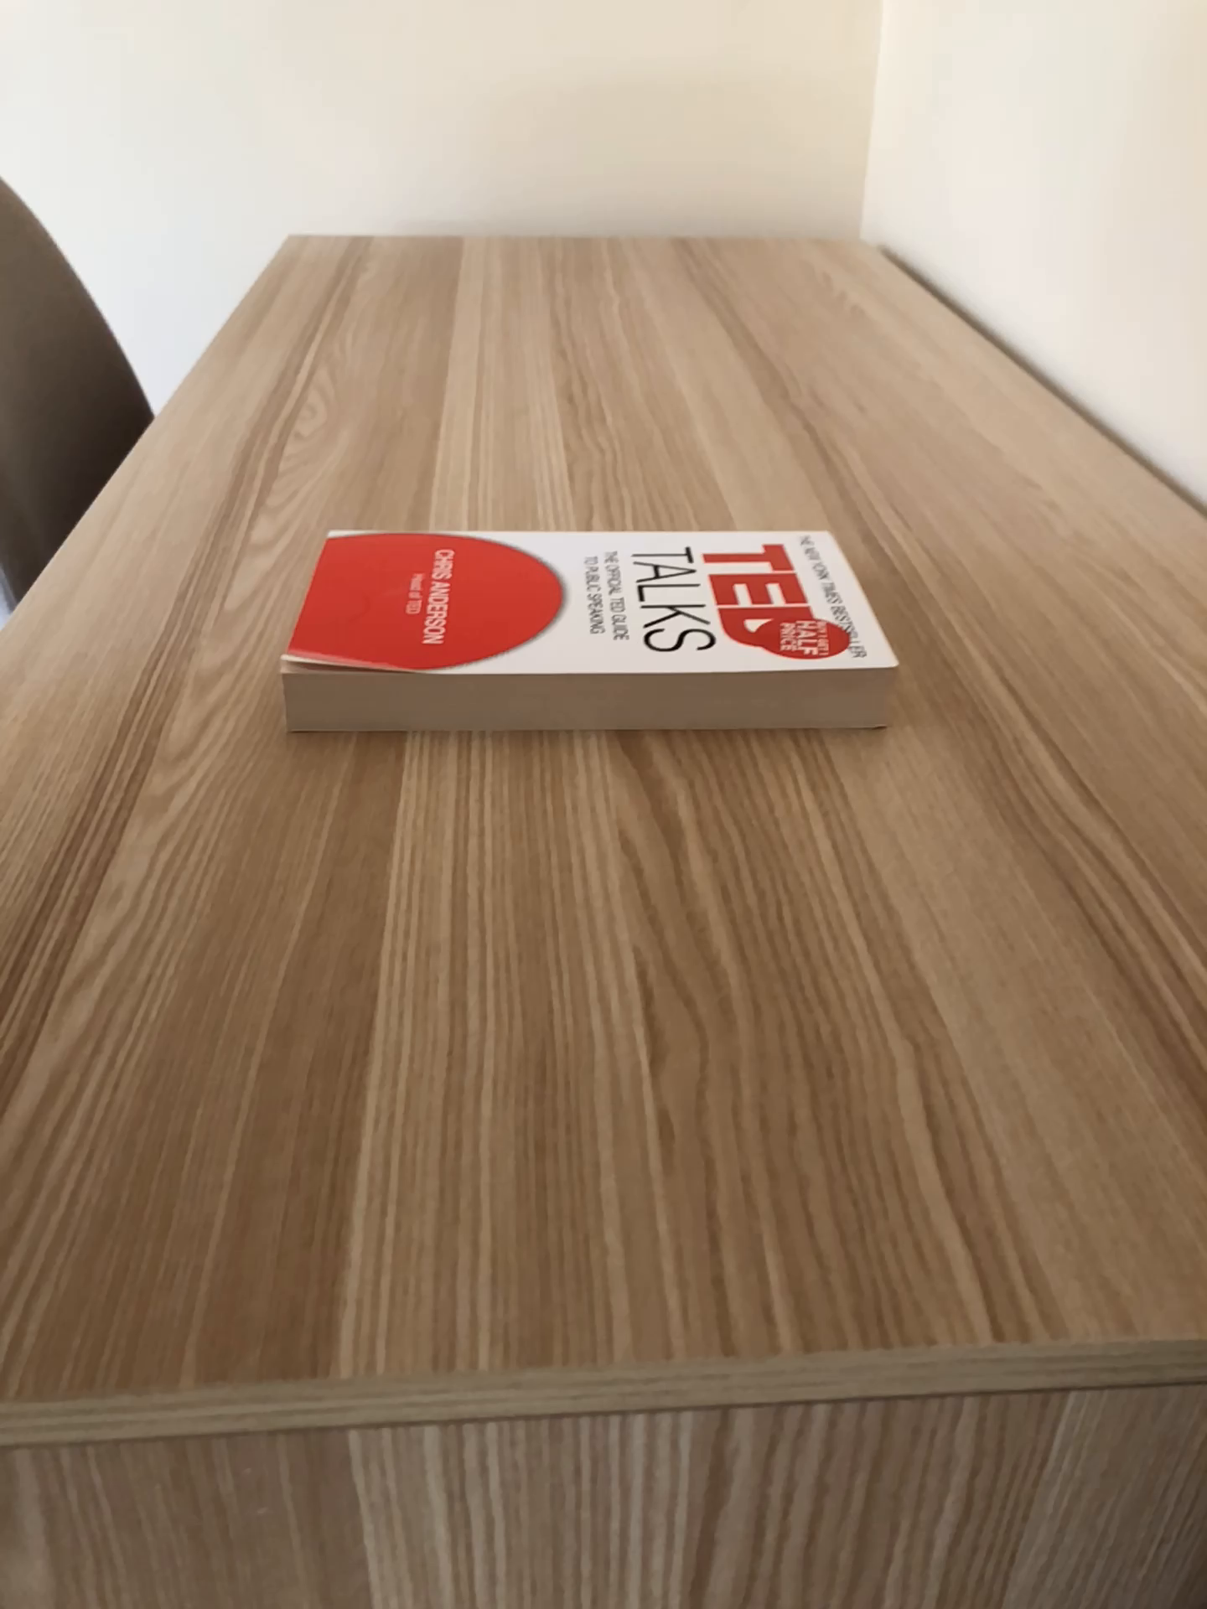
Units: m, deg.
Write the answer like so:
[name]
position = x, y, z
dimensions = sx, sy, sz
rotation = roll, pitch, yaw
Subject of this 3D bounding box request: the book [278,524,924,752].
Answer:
[book]
position = -0.002, -0.070, 0.518
dimensions = 0.220, 0.030, 0.139
rotation = -1, 33, -2
